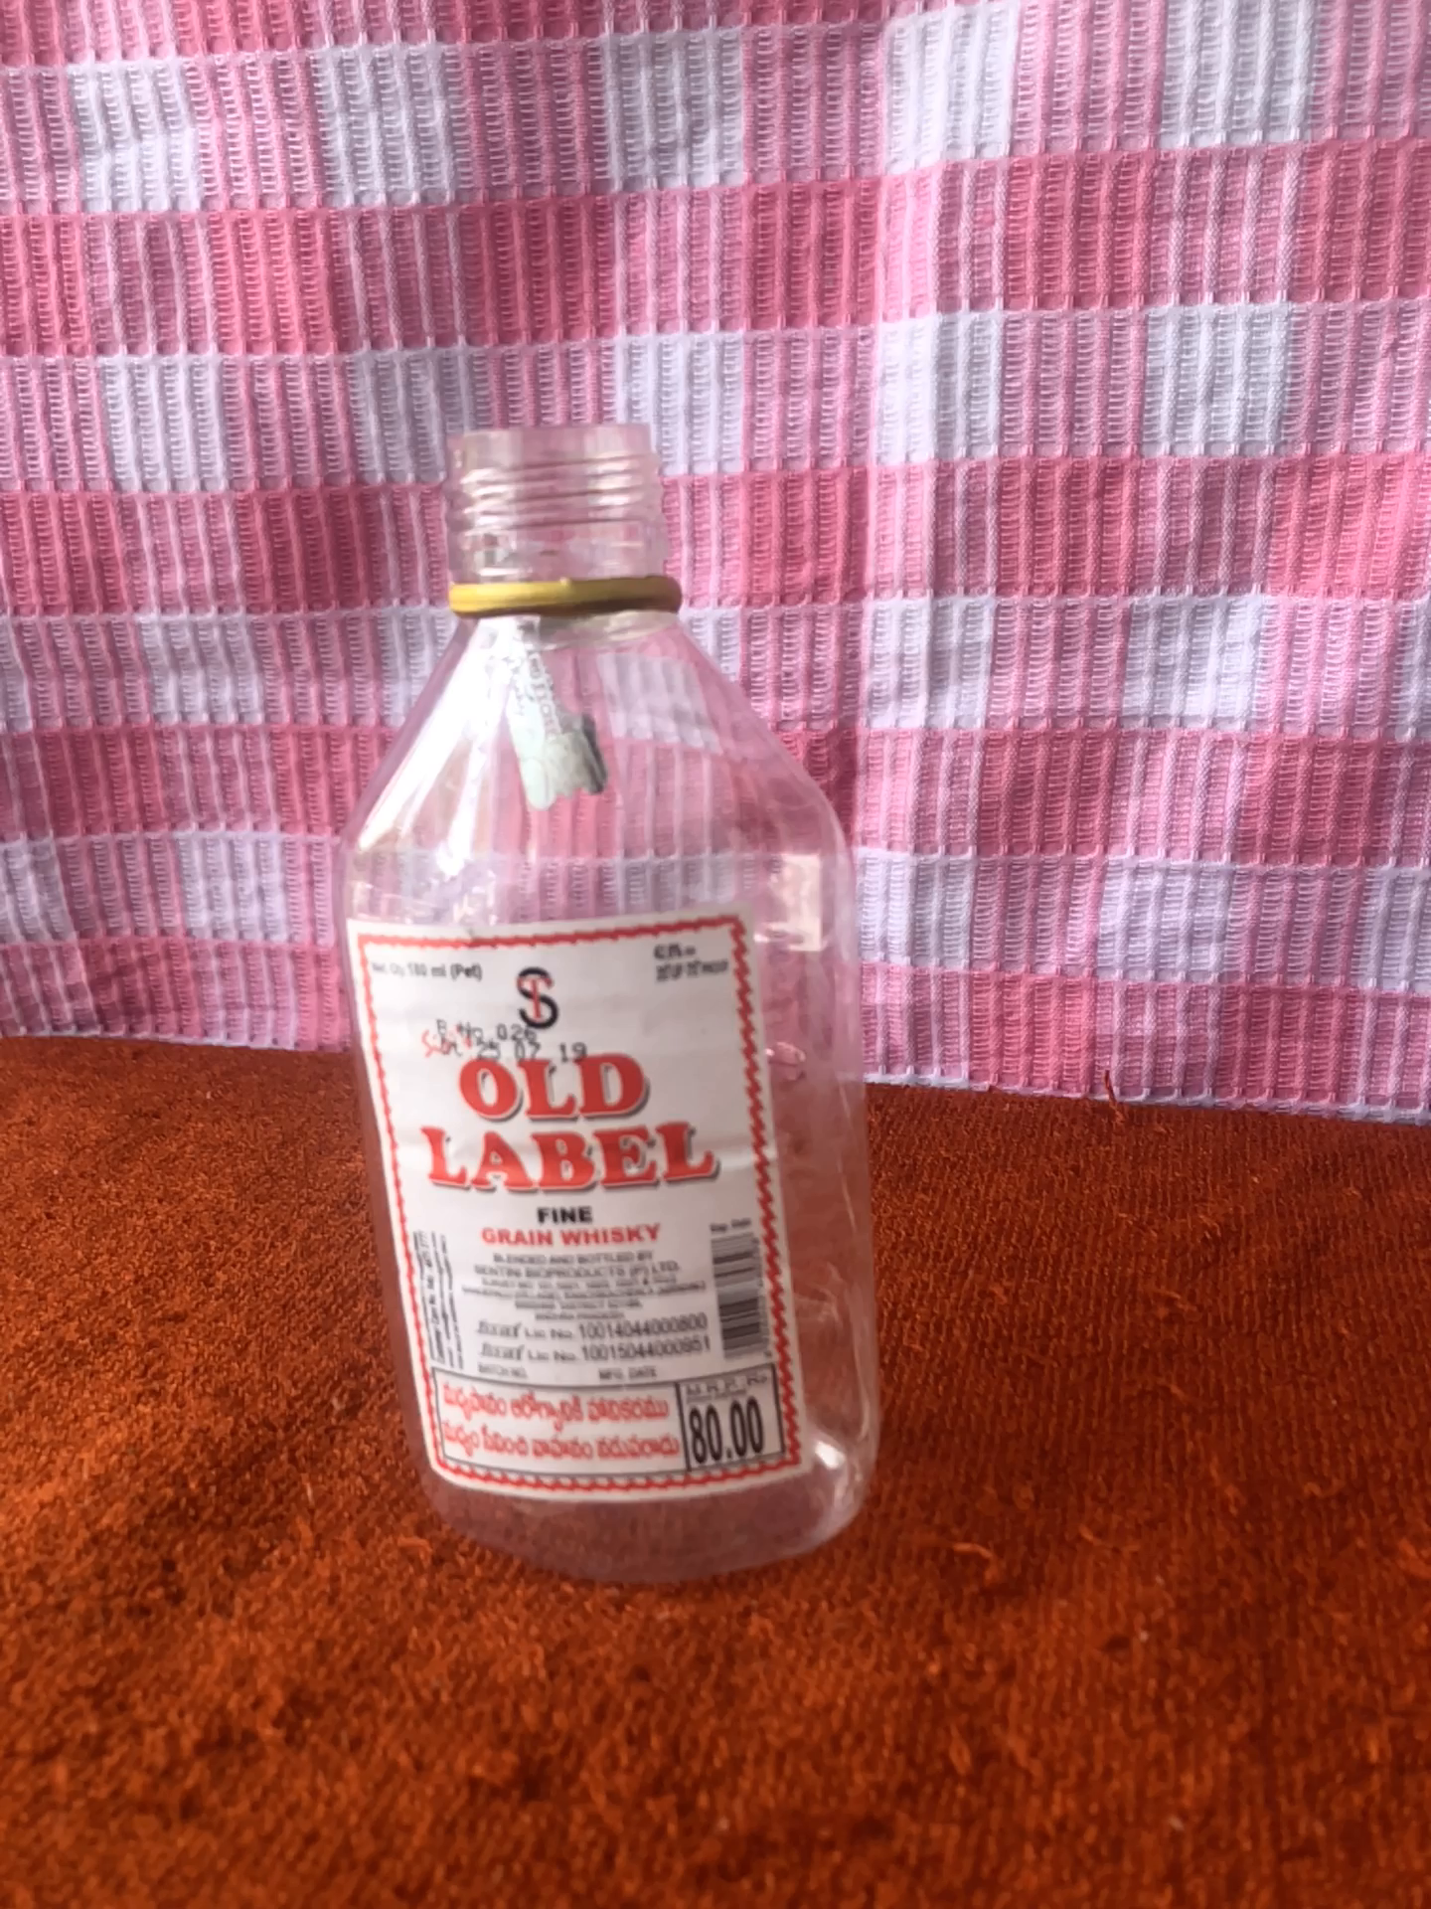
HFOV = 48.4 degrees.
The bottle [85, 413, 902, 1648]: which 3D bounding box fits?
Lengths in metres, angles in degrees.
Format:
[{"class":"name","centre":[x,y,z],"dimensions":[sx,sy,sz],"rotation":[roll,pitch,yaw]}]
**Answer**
[{"class":"bottle","centre":[-0.018,0.006,0.189],"dimensions":[0.070,0.129,0.050],"rotation":[2,19,15]}]
